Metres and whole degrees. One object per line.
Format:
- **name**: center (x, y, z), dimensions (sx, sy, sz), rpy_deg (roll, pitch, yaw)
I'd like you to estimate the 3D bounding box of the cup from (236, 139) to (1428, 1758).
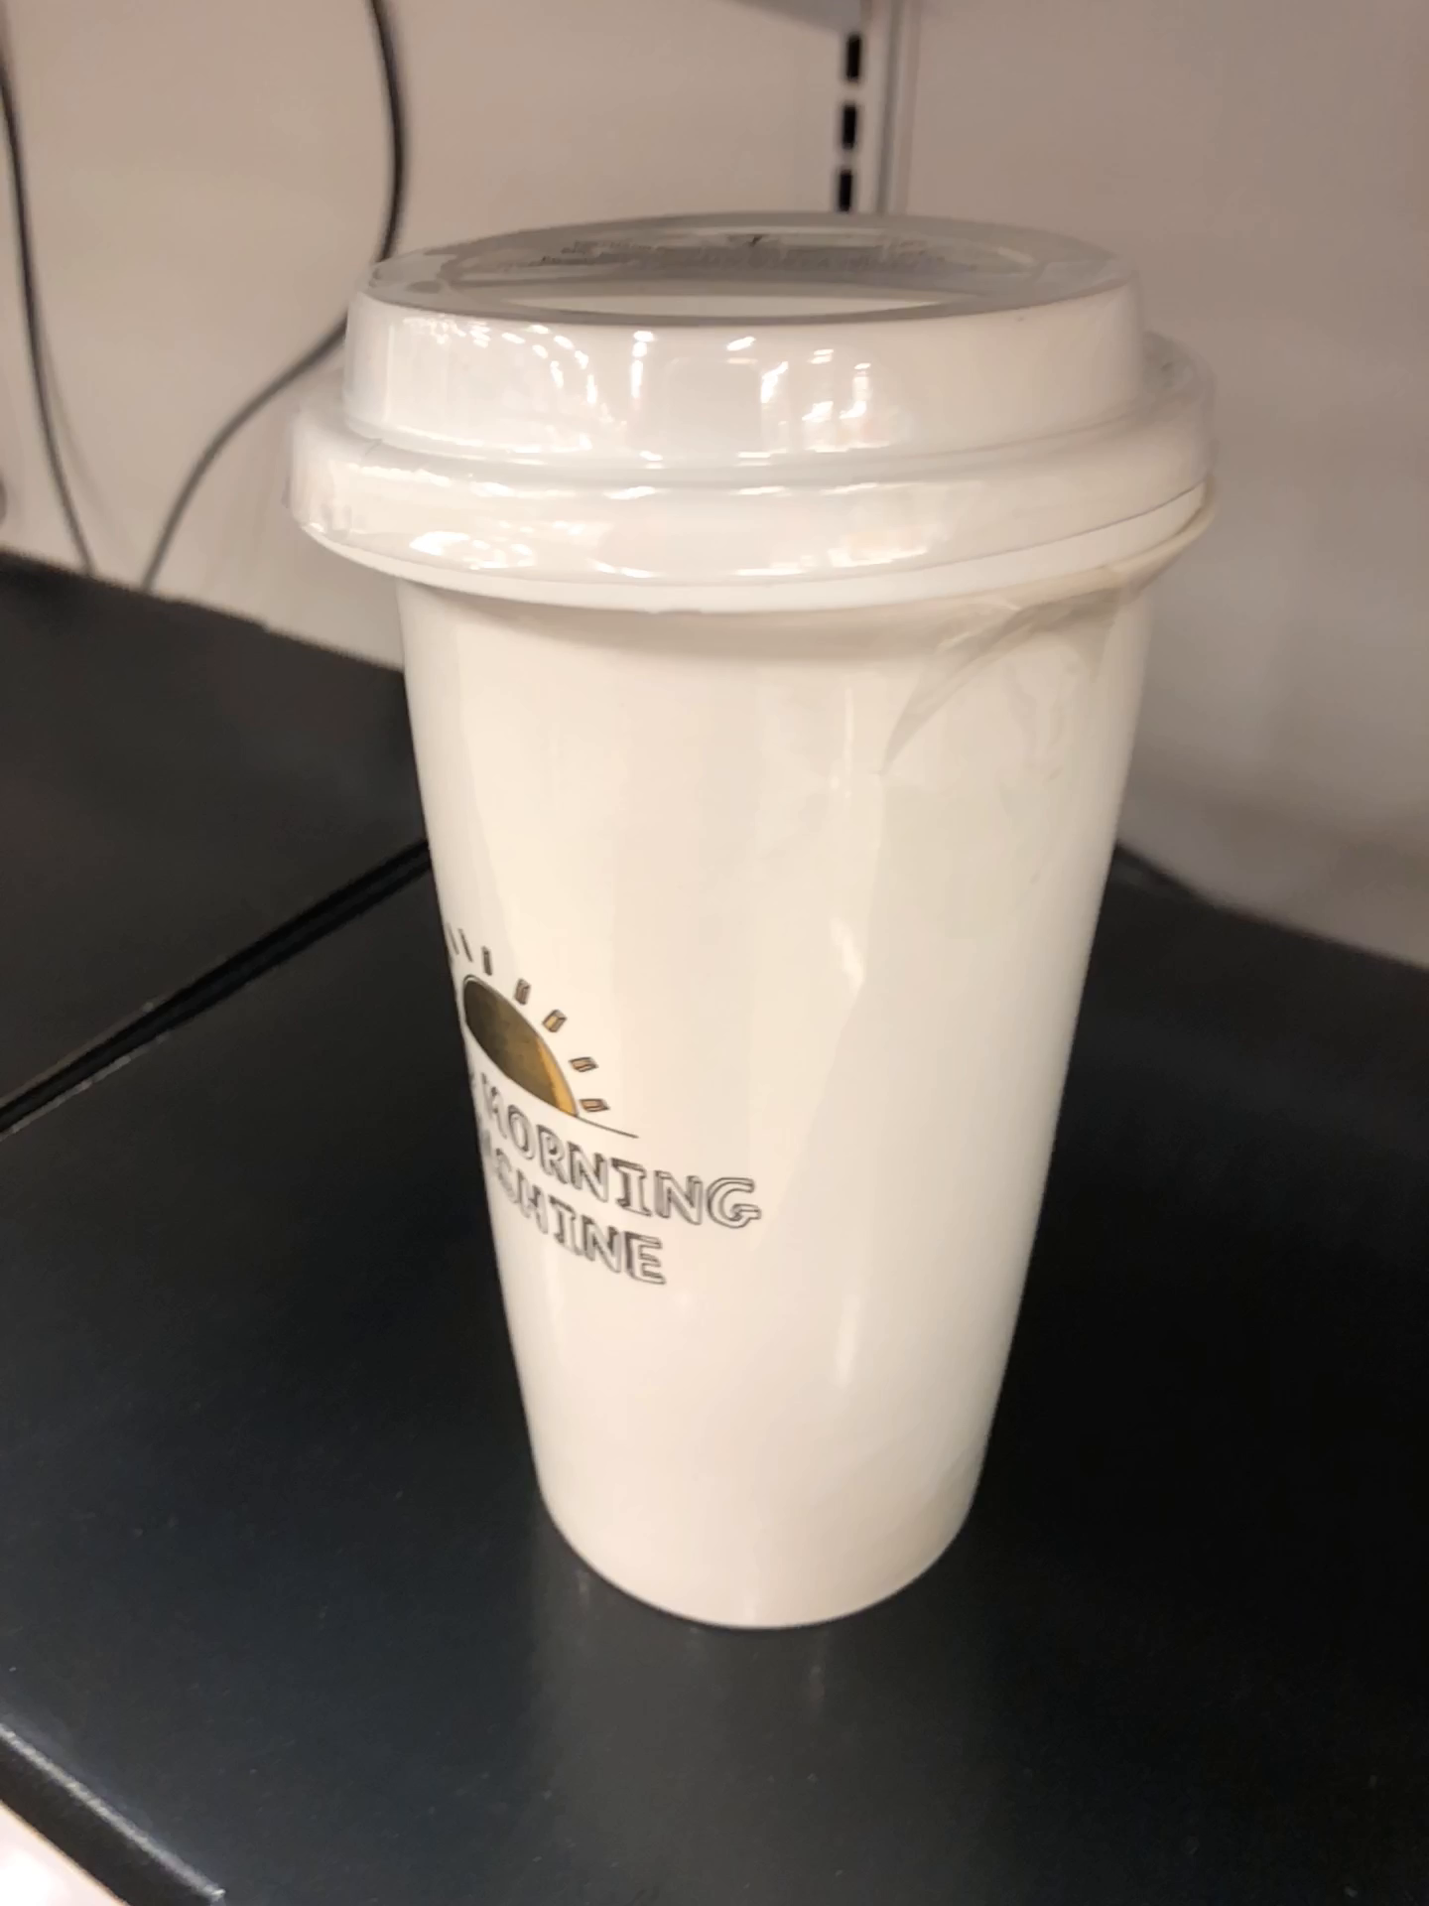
- **cup**: center (0.008, -0.006, 0.193), dimensions (0.100, 0.149, 0.100), rpy_deg (1, 33, -1)
